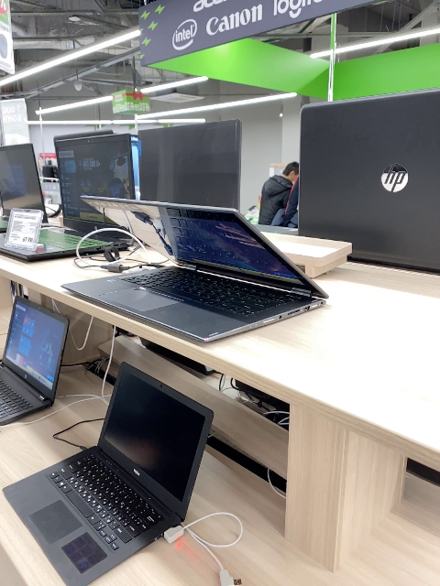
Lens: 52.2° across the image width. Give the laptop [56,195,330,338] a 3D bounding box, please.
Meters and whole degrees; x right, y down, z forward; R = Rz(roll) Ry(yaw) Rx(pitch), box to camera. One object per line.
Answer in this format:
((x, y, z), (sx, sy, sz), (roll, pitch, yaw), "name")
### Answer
((-0.049, -0.064, 0.623), (0.217, 0.128, 0.321), (-13, 19, -42), "laptop")
